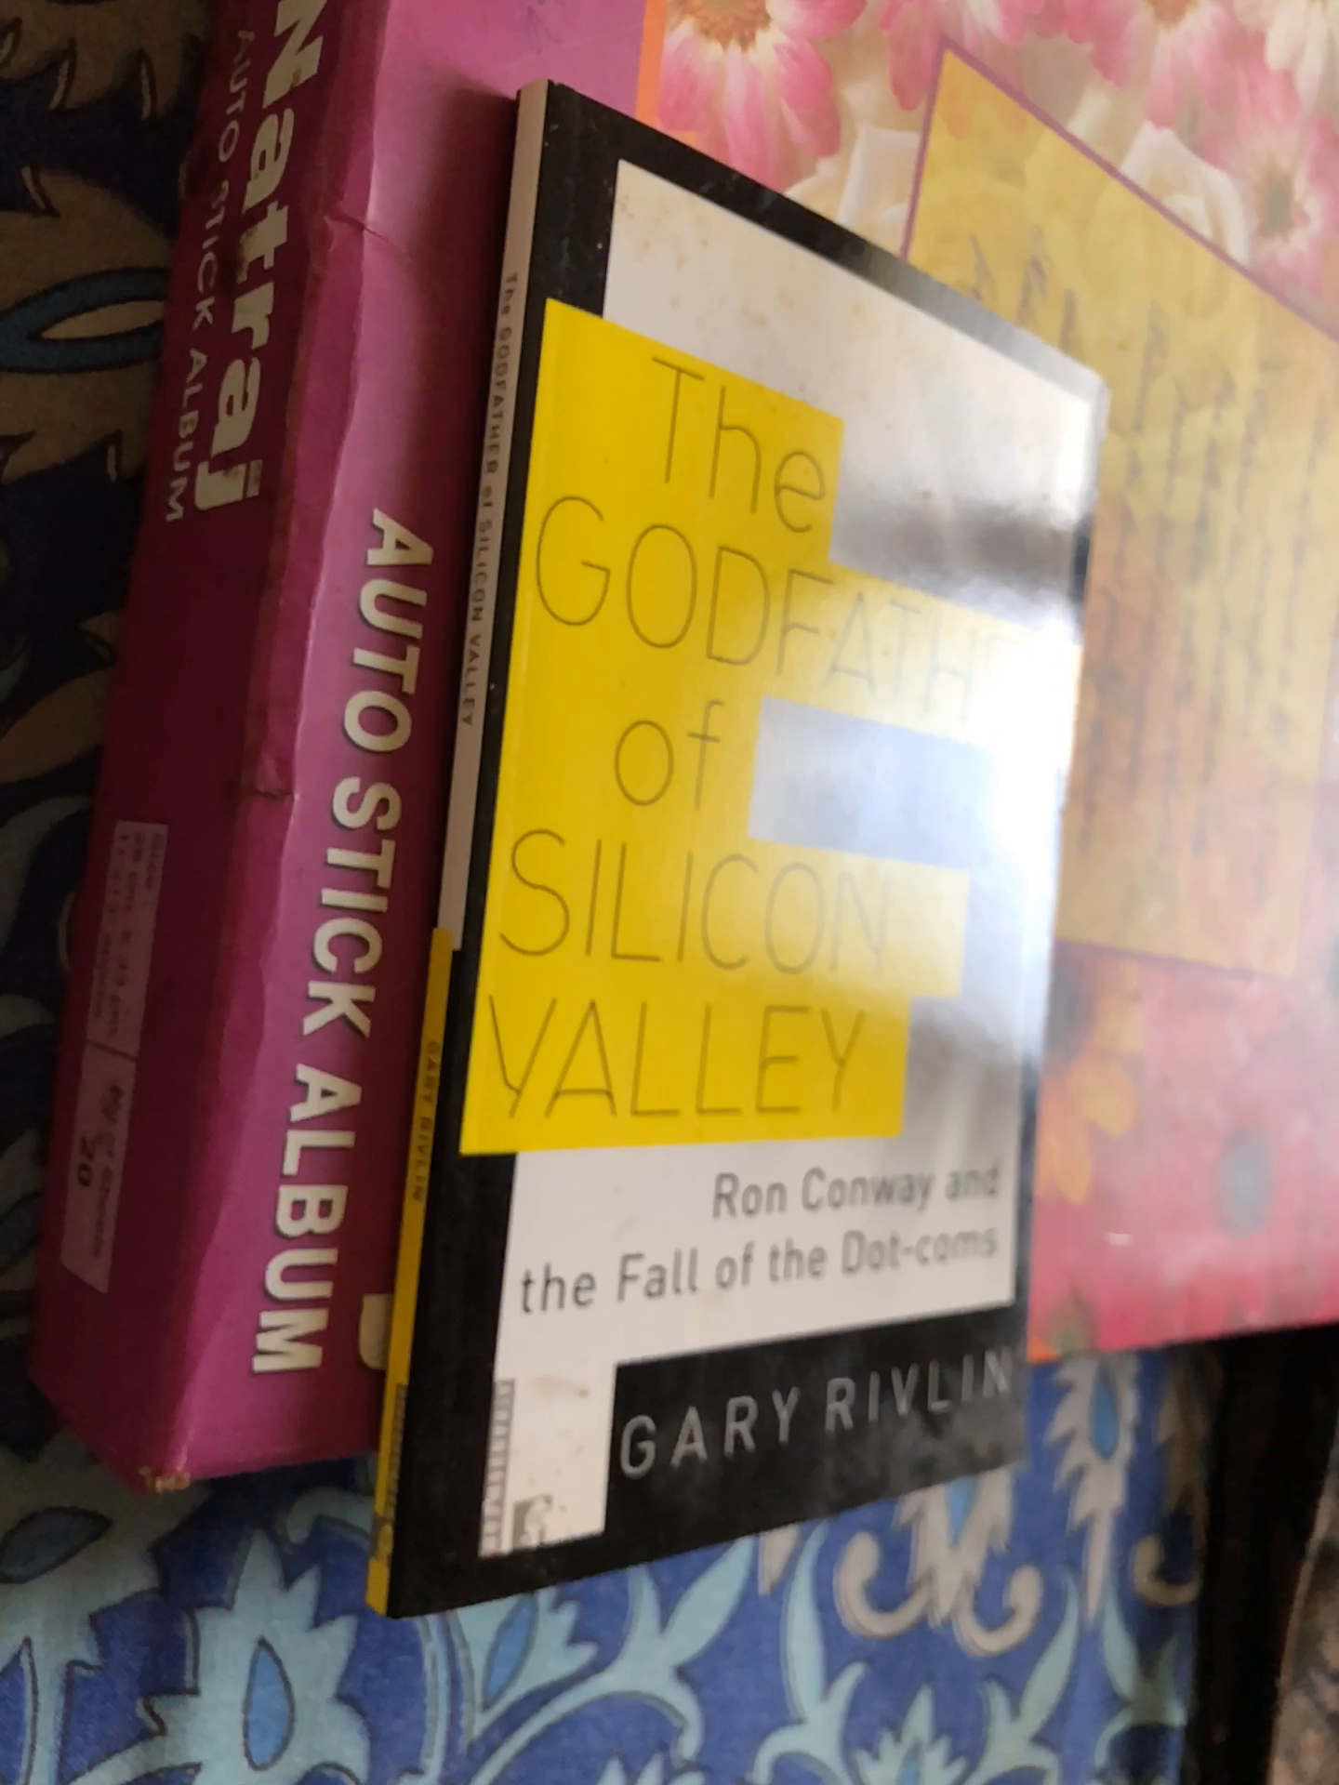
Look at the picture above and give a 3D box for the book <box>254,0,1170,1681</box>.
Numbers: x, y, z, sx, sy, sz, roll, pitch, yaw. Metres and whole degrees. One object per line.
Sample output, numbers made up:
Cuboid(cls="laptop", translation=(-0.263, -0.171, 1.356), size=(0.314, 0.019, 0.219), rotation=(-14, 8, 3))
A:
Cuboid(cls="book", translation=(0.020, -0.003, 0.250), size=(0.151, 0.020, 0.220), rotation=(7, 91, -42))
